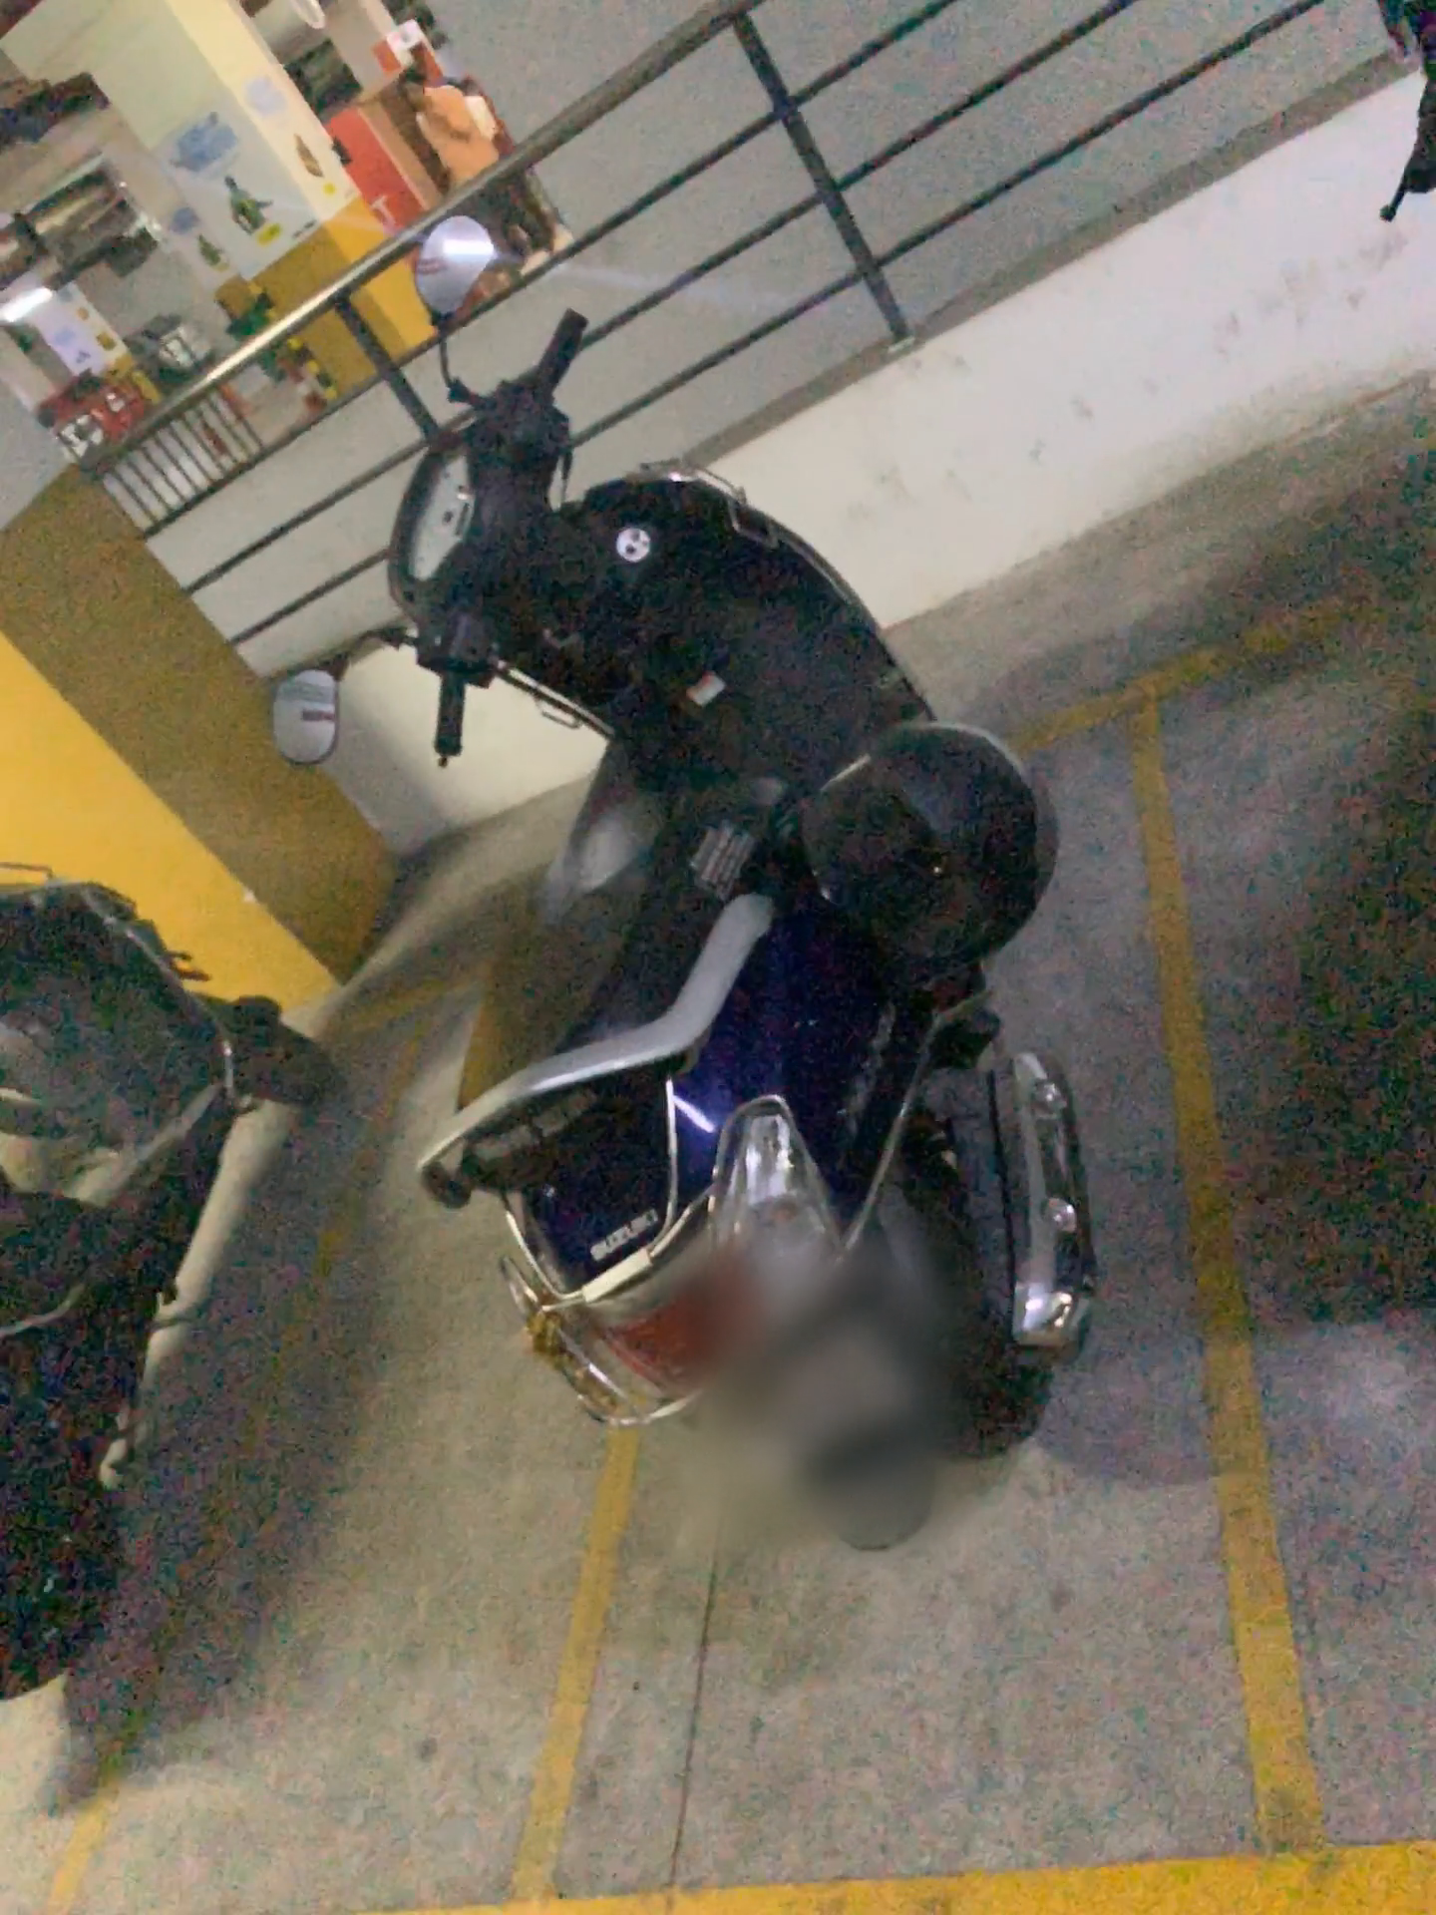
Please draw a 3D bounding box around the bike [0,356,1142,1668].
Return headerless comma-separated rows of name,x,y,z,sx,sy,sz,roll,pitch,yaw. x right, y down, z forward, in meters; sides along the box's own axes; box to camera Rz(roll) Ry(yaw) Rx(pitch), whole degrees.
bike,-0.104,-0.041,2.066,0.622,1.156,1.481,-28,28,16
